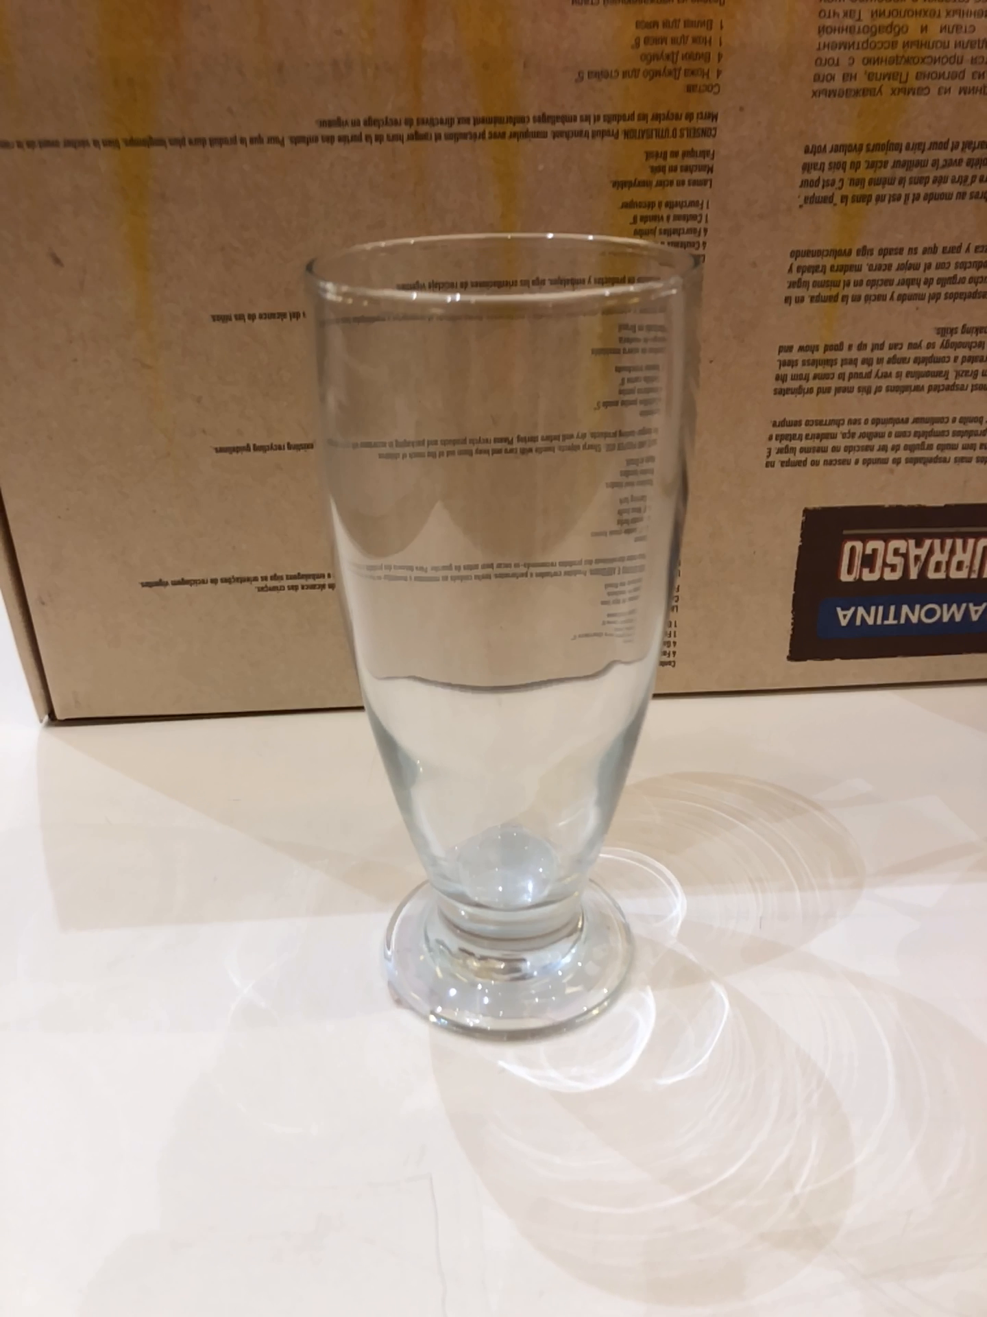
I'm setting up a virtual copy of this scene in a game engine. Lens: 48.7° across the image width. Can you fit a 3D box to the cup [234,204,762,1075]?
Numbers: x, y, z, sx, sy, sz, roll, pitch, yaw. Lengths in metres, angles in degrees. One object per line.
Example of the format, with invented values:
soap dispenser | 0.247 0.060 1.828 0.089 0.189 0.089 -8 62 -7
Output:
cup | 0.000 -0.003 0.264 0.090 0.189 0.081 -3 27 -4
